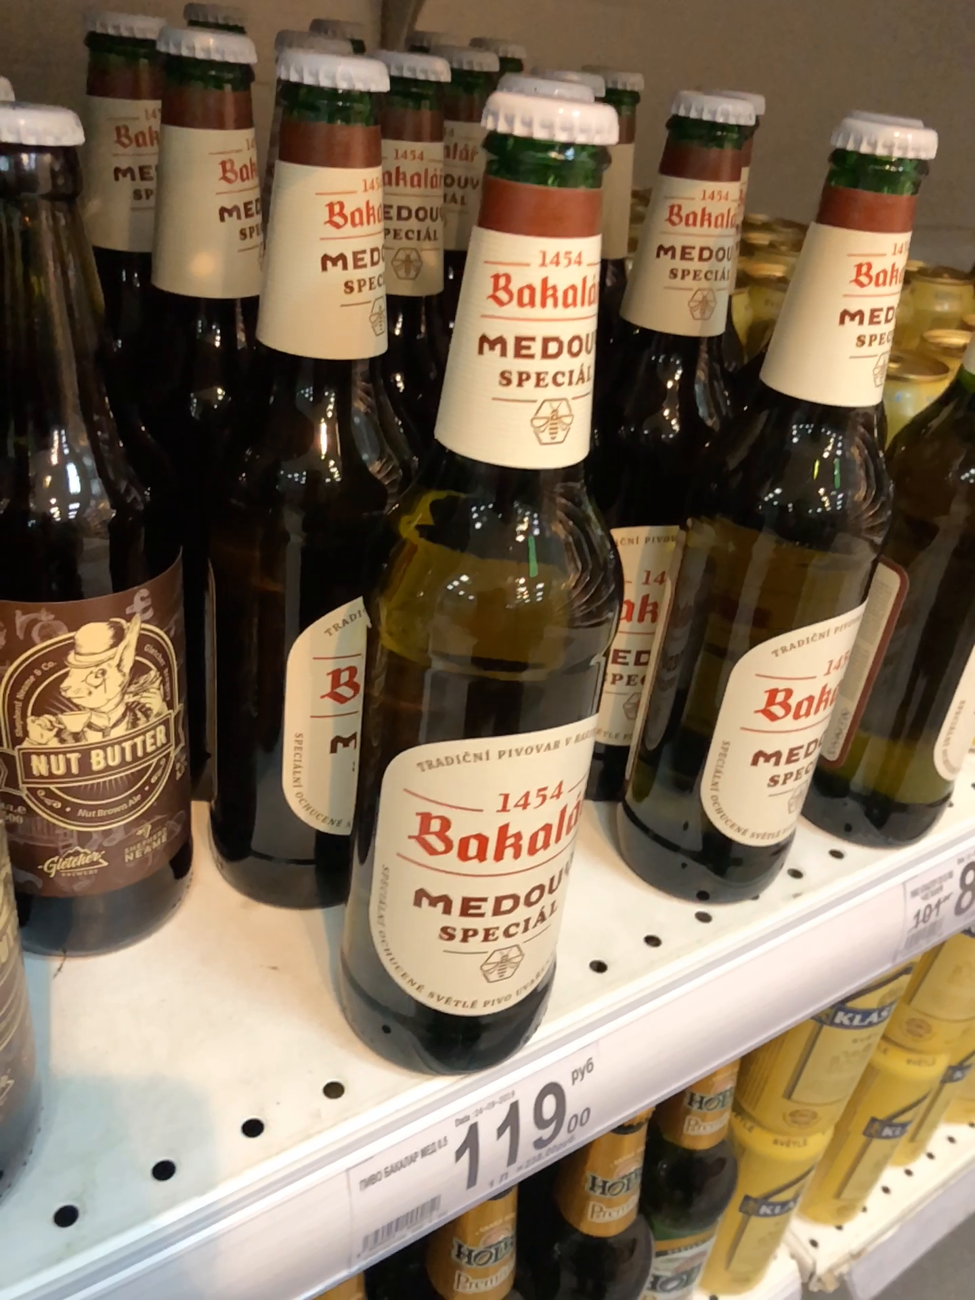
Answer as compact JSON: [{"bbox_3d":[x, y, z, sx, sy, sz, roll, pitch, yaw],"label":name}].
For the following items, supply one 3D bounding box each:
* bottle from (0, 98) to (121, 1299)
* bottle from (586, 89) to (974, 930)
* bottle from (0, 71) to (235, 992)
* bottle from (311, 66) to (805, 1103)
[{"bbox_3d":[-0.125,0.024,0.217,0.061,0.233,0.069,12,29,8],"label":"bottle"},{"bbox_3d":[0.093,-0.032,0.342,0.065,0.249,0.061,6,29,-3],"label":"bottle"},{"bbox_3d":[-0.113,-0.022,0.296,0.069,0.231,0.061,-13,35,-32],"label":"bottle"},{"bbox_3d":[0.002,-0.003,0.277,0.070,0.249,0.066,6,29,-3],"label":"bottle"}]
